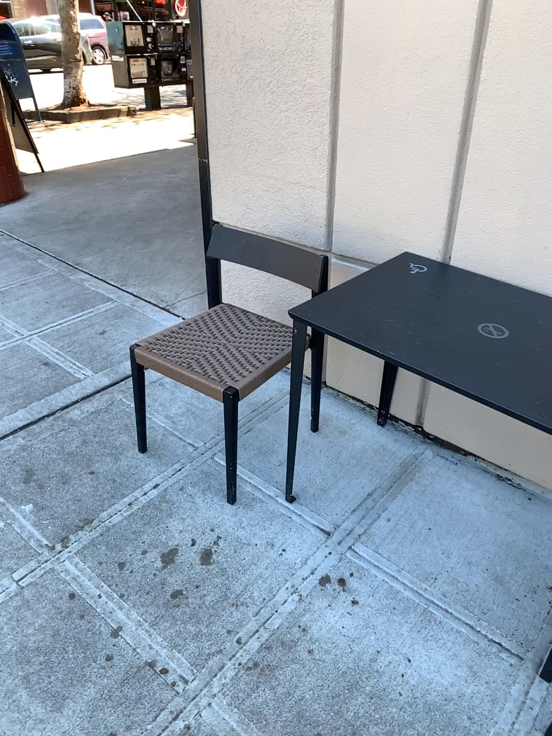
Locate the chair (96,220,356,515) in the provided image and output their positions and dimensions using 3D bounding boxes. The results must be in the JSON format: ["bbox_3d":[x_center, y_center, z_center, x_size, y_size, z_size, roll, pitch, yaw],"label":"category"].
[{"bbox_3d":[-0.138,-0.046,1.849,0.552,0.666,0.551,20,36,31],"label":"chair"}]
